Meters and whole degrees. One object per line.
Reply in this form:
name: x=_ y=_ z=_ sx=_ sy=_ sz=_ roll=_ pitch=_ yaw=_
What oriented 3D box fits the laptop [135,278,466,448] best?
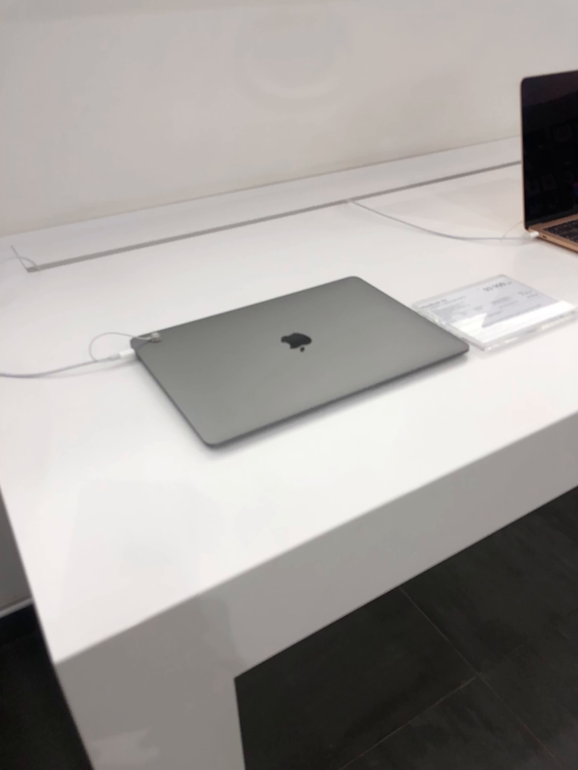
laptop: x=0.009 y=-0.041 z=0.679 sx=0.292 sy=0.006 sz=0.205 roll=-19 pitch=39 yaw=-24
